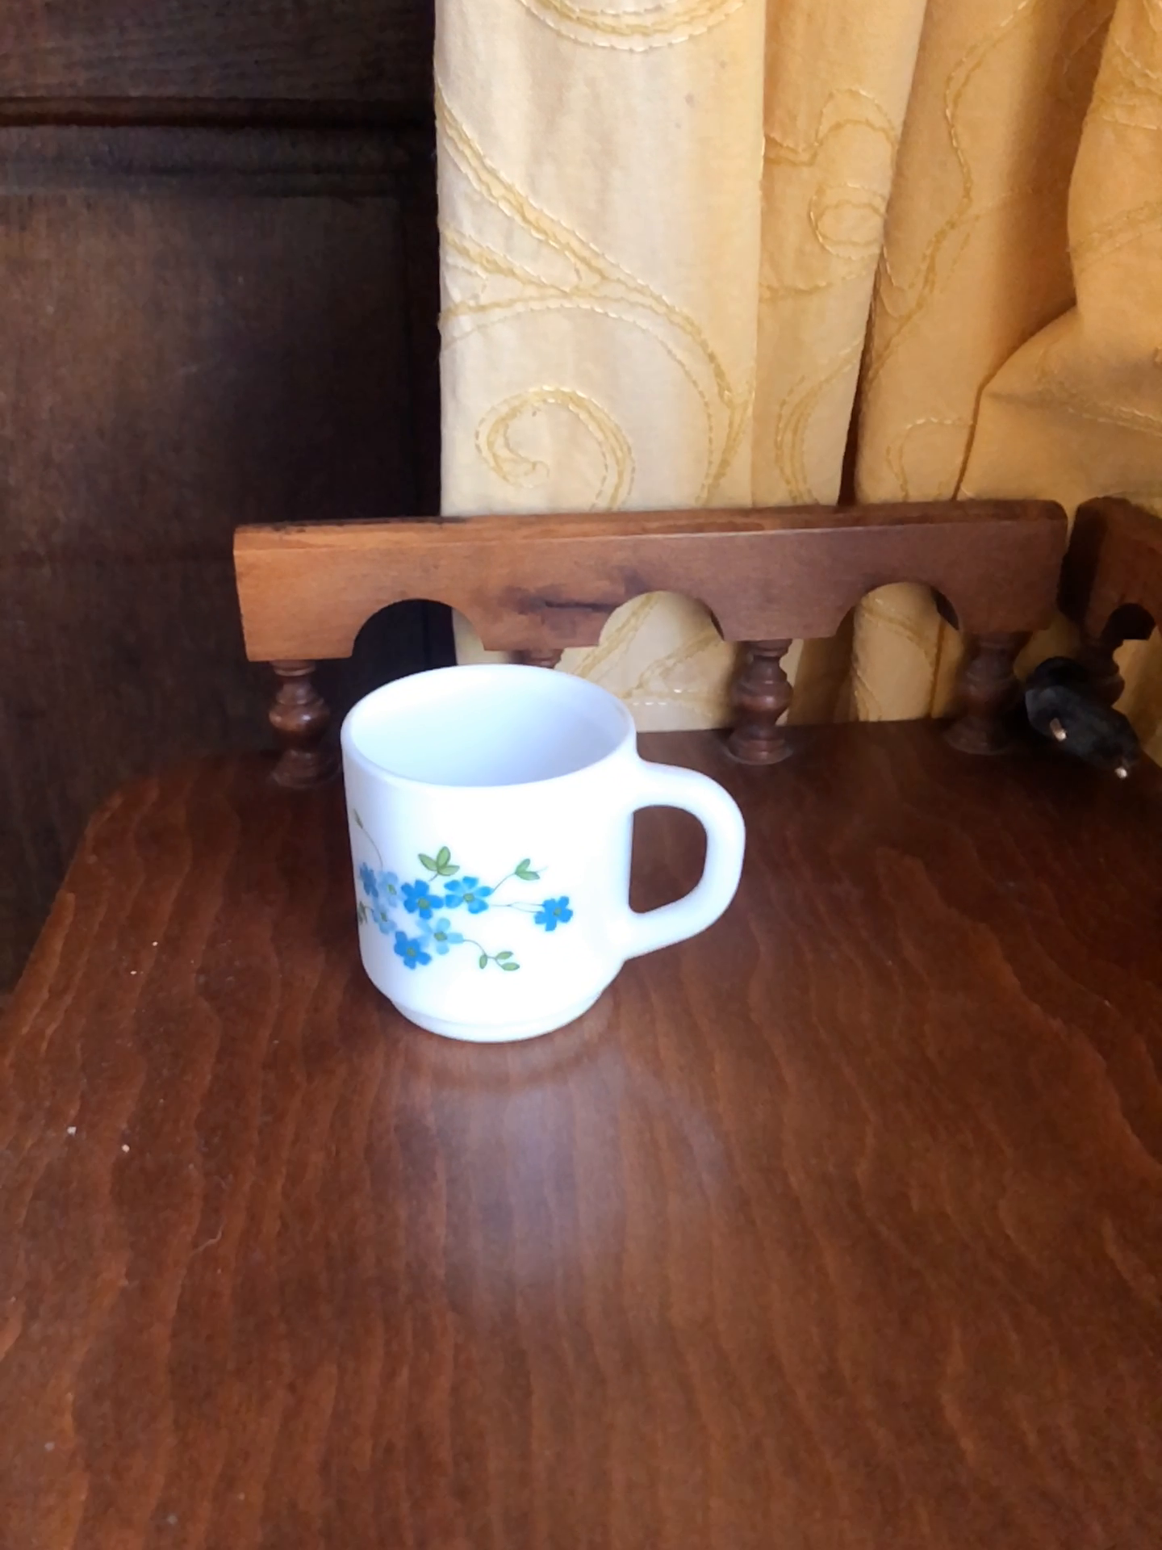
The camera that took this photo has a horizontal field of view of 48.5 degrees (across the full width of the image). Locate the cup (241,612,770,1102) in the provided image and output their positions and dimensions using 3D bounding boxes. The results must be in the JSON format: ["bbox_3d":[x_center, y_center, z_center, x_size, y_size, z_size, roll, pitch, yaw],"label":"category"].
[{"bbox_3d":[-0.012,0.011,0.254,0.080,0.060,0.060,12,29,22],"label":"cup"}]
